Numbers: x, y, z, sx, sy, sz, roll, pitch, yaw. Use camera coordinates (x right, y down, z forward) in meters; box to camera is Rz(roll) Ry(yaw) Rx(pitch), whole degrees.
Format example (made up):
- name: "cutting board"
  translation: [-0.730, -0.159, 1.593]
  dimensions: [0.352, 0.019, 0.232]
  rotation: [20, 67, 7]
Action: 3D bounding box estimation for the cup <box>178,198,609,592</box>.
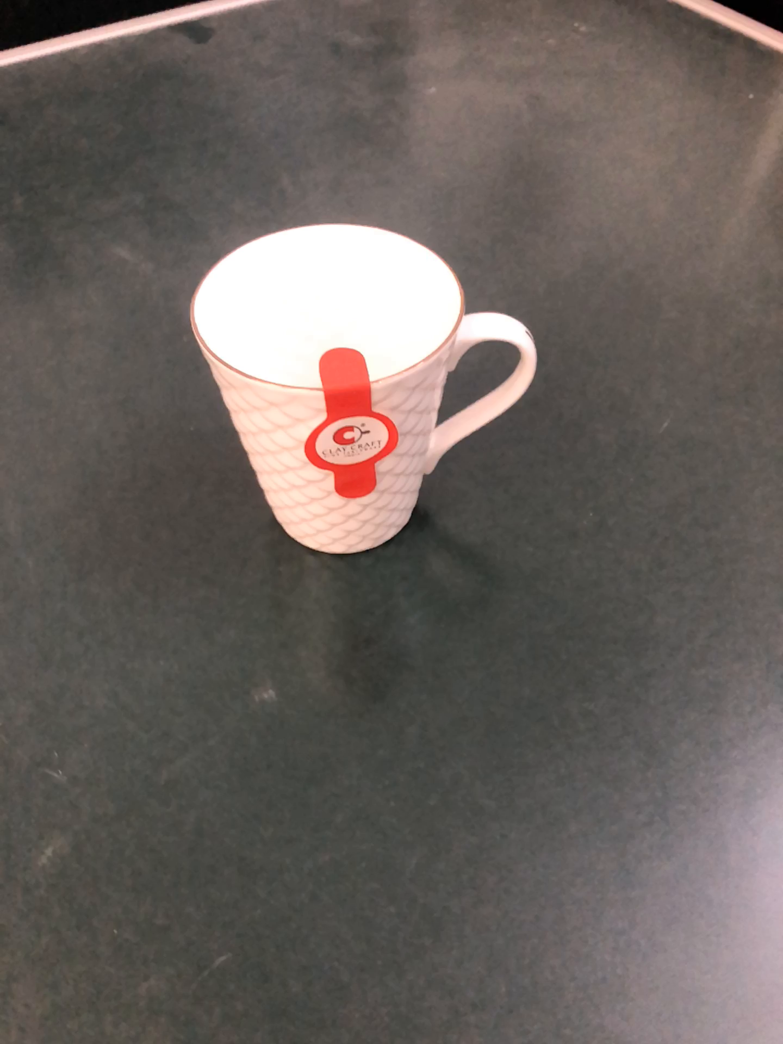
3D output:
- name: "cup"
  translation: [-0.003, -0.043, 0.304]
  dimensions: [0.120, 0.090, 0.080]
  rotation: [-9, 51, -6]
